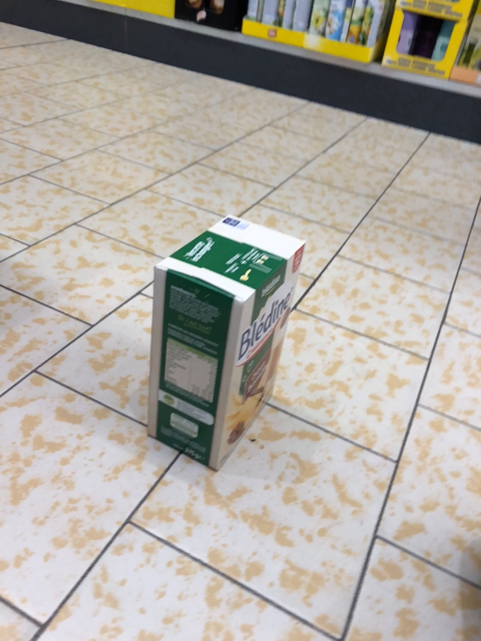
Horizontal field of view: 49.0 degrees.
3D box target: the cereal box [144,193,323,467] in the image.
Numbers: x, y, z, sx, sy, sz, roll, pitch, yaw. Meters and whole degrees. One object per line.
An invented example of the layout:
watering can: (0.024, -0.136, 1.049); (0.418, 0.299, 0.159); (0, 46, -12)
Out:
cereal box: (-0.009, 0.006, 0.454); (0.080, 0.179, 0.131); (23, 38, 19)
